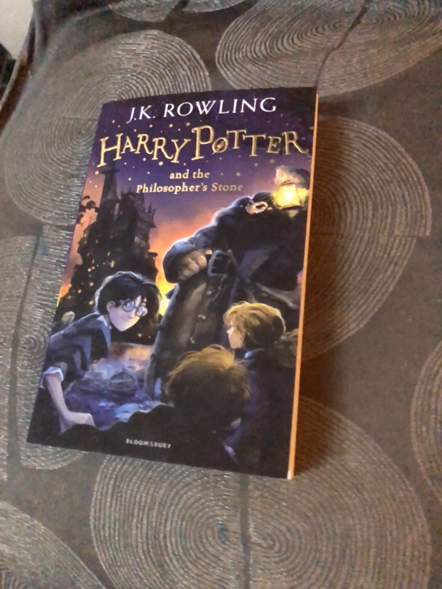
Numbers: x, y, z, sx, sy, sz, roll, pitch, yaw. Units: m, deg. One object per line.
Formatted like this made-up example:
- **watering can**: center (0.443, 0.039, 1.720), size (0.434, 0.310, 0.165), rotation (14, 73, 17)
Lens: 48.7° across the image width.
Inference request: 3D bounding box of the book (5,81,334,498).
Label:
- **book**: center (-0.015, -0.014, 0.261), size (0.140, 0.040, 0.210), rotation (3, 71, 9)
